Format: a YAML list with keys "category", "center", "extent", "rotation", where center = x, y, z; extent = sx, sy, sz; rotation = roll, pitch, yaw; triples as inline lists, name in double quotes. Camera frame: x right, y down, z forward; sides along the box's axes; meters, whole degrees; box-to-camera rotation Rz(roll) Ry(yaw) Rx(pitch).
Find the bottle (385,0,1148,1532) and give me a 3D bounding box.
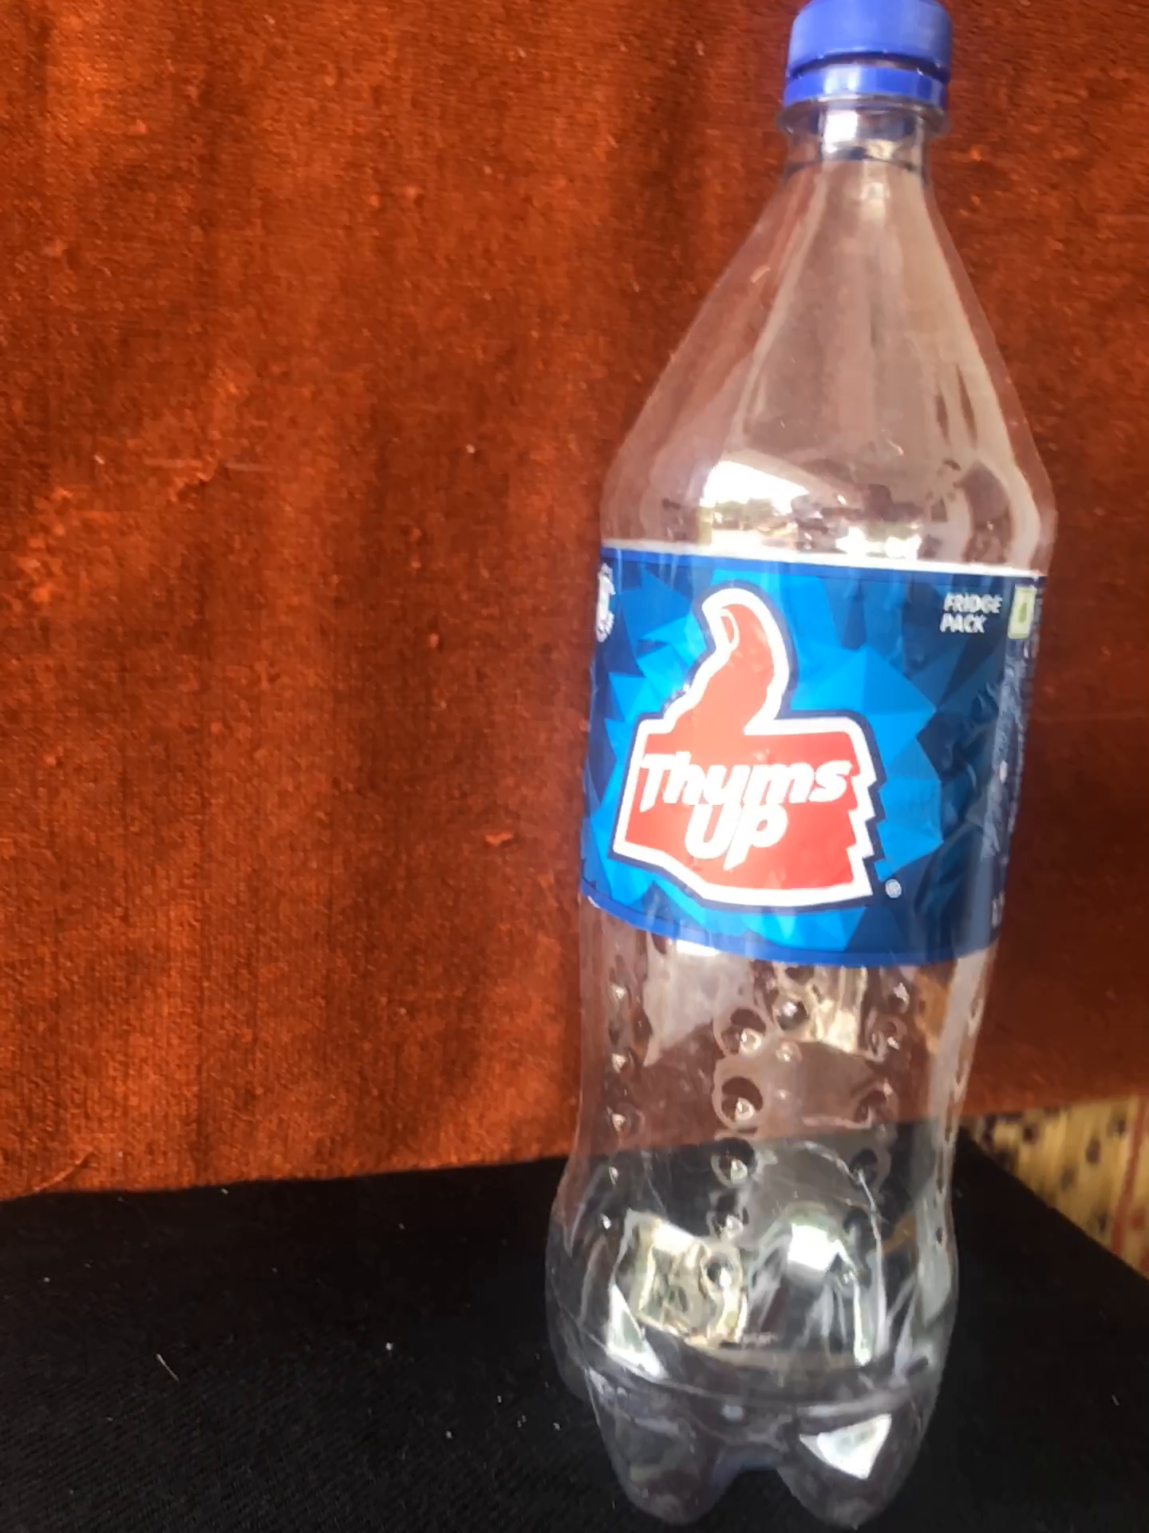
- category: "bottle"
  center: [0.041, -0.007, 0.248]
  extent: [0.100, 0.289, 0.090]
  rotation: [11, 13, 23]
